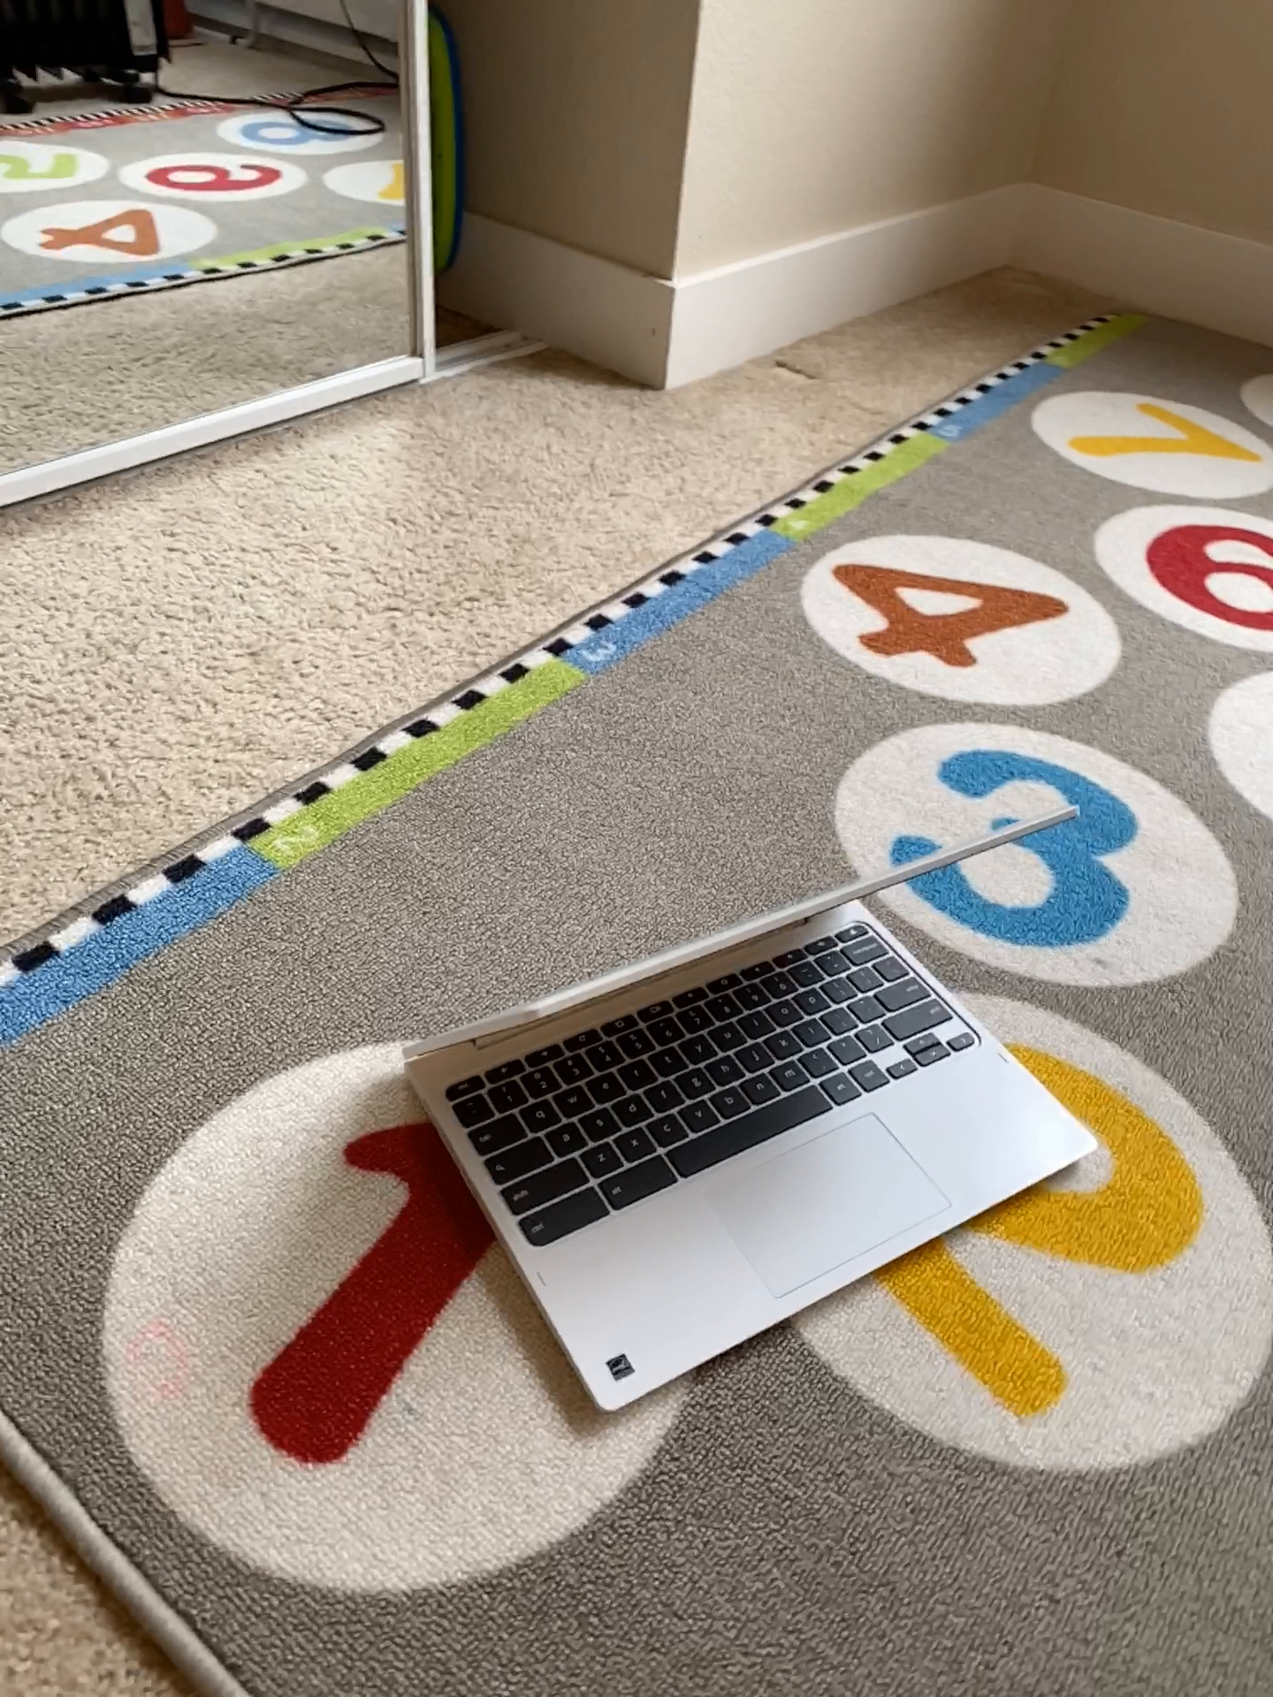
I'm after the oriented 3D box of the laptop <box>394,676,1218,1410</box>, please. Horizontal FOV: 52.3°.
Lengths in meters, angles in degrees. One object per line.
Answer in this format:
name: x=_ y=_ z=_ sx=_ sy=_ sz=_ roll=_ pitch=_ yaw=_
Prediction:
laptop: x=0.067 y=0.070 z=0.627 sx=0.299 sy=0.162 sz=0.217 roll=-17 pitch=45 yaw=-26
